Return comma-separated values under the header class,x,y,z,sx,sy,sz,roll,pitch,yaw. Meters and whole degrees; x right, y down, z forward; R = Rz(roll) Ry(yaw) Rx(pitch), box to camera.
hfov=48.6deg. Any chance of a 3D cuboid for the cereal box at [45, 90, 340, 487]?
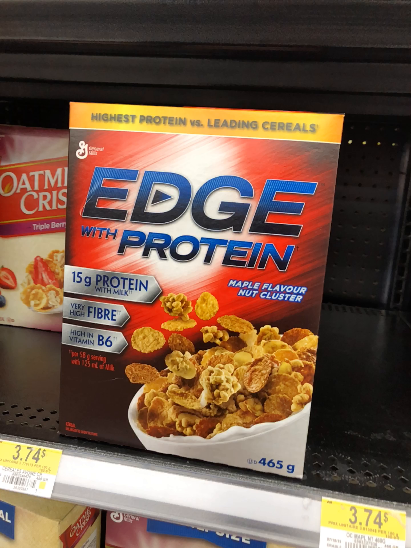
class,x,y,z,sx,sy,sz,roll,pitch,yaw
cereal box,-0.016,0.006,0.359,0.200,0.269,0.060,6,9,11
